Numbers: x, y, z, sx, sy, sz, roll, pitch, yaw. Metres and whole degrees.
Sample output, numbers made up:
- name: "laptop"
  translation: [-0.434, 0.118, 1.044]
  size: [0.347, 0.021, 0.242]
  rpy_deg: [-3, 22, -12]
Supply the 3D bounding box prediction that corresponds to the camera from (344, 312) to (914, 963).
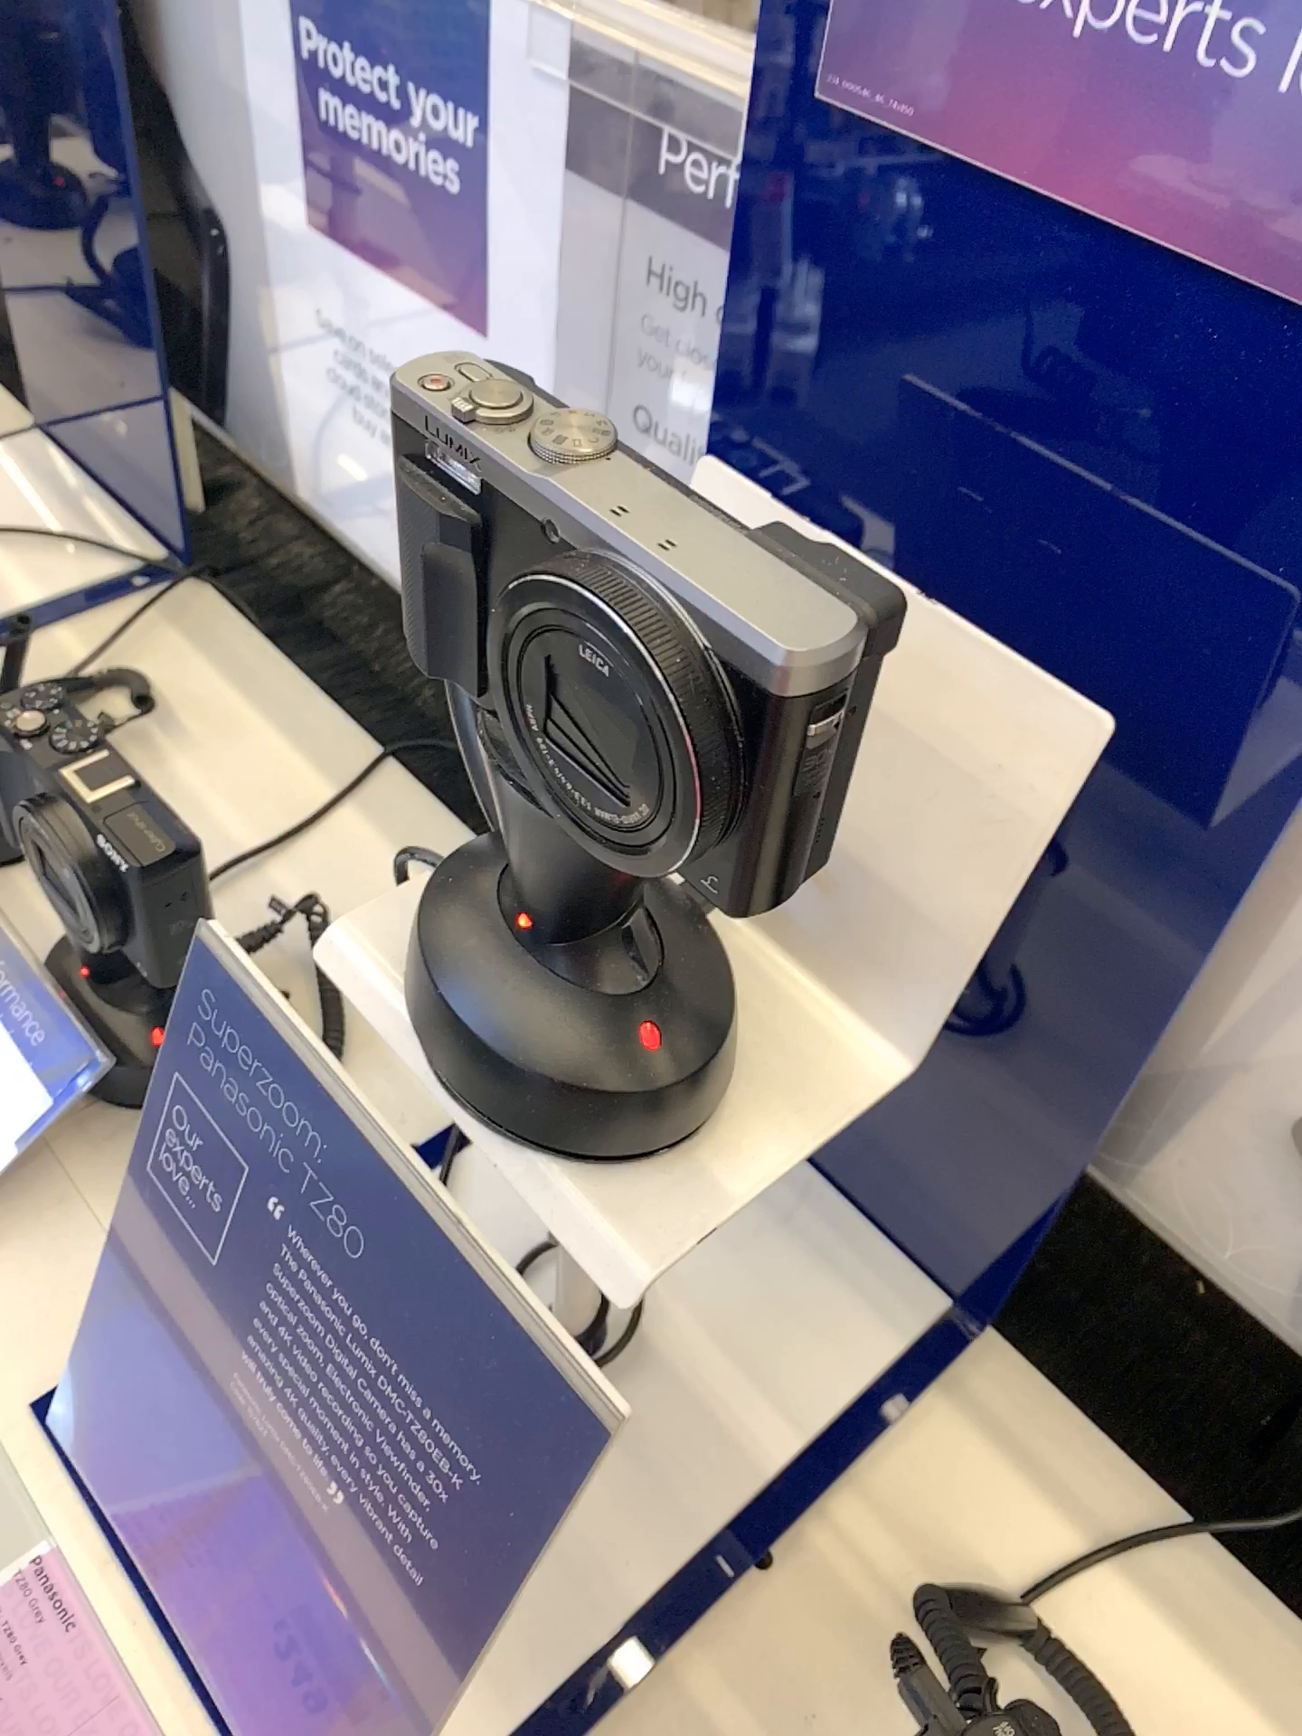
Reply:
- name: "camera"
  translation: [-0.011, -0.045, 0.253]
  size: [0.030, 0.069, 0.111]
  rpy_deg: [-32, 59, -32]
